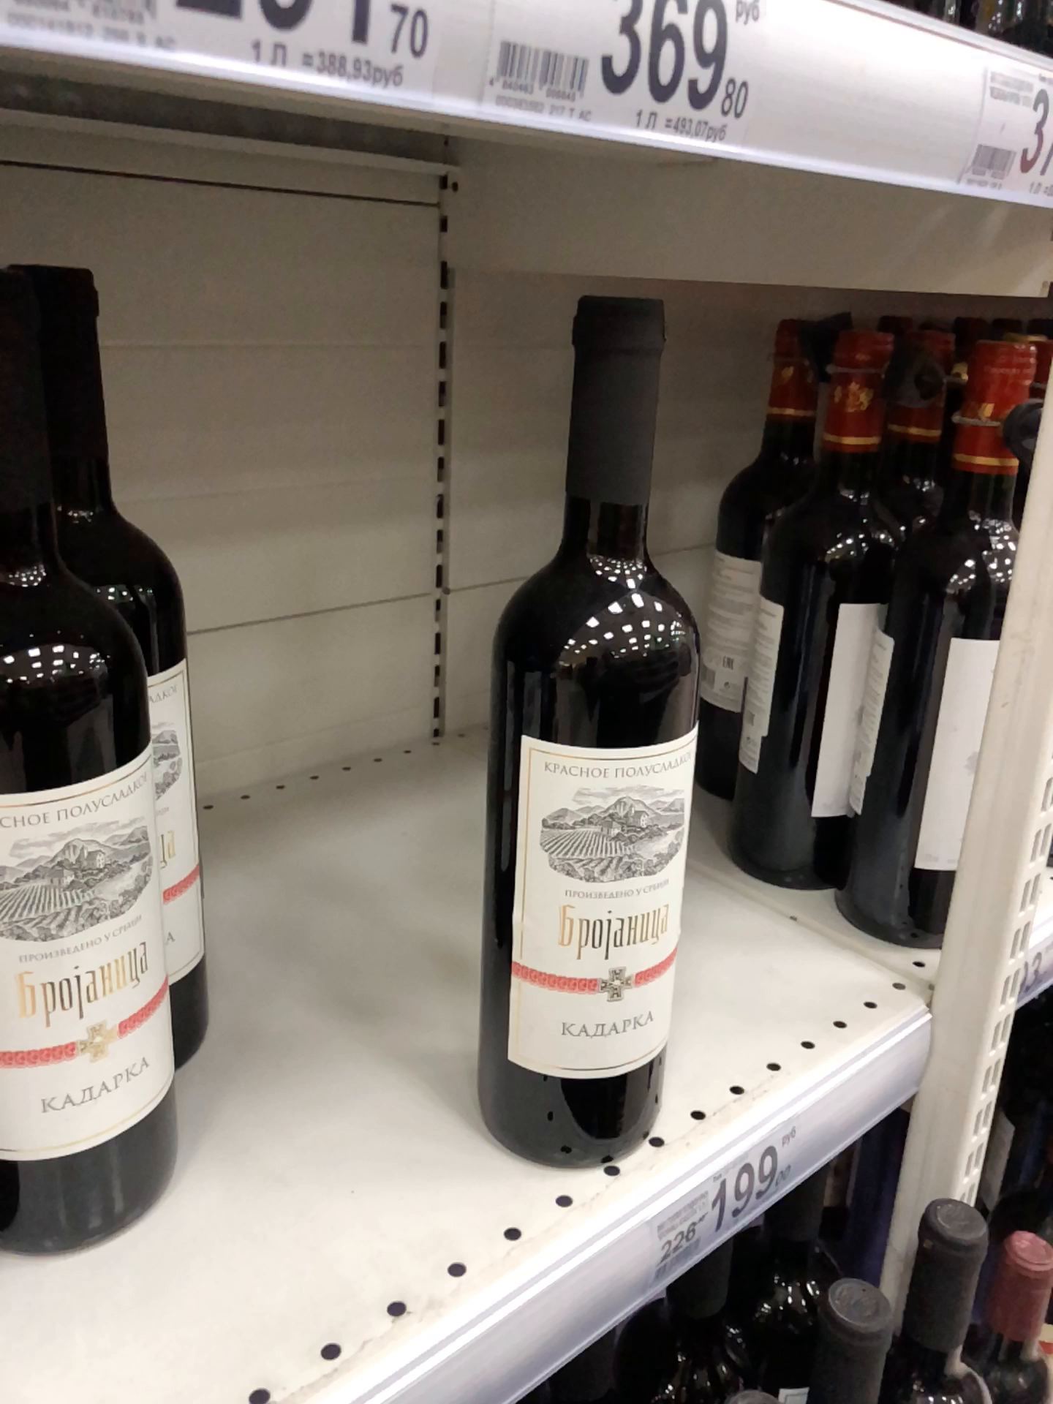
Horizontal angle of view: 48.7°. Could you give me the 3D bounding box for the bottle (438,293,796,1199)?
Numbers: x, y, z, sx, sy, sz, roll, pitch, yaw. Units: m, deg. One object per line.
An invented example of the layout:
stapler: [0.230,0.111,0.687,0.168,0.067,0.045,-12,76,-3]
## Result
bottle: [0.021,0.019,0.419,0.080,0.308,0.080,3,20,-1]
